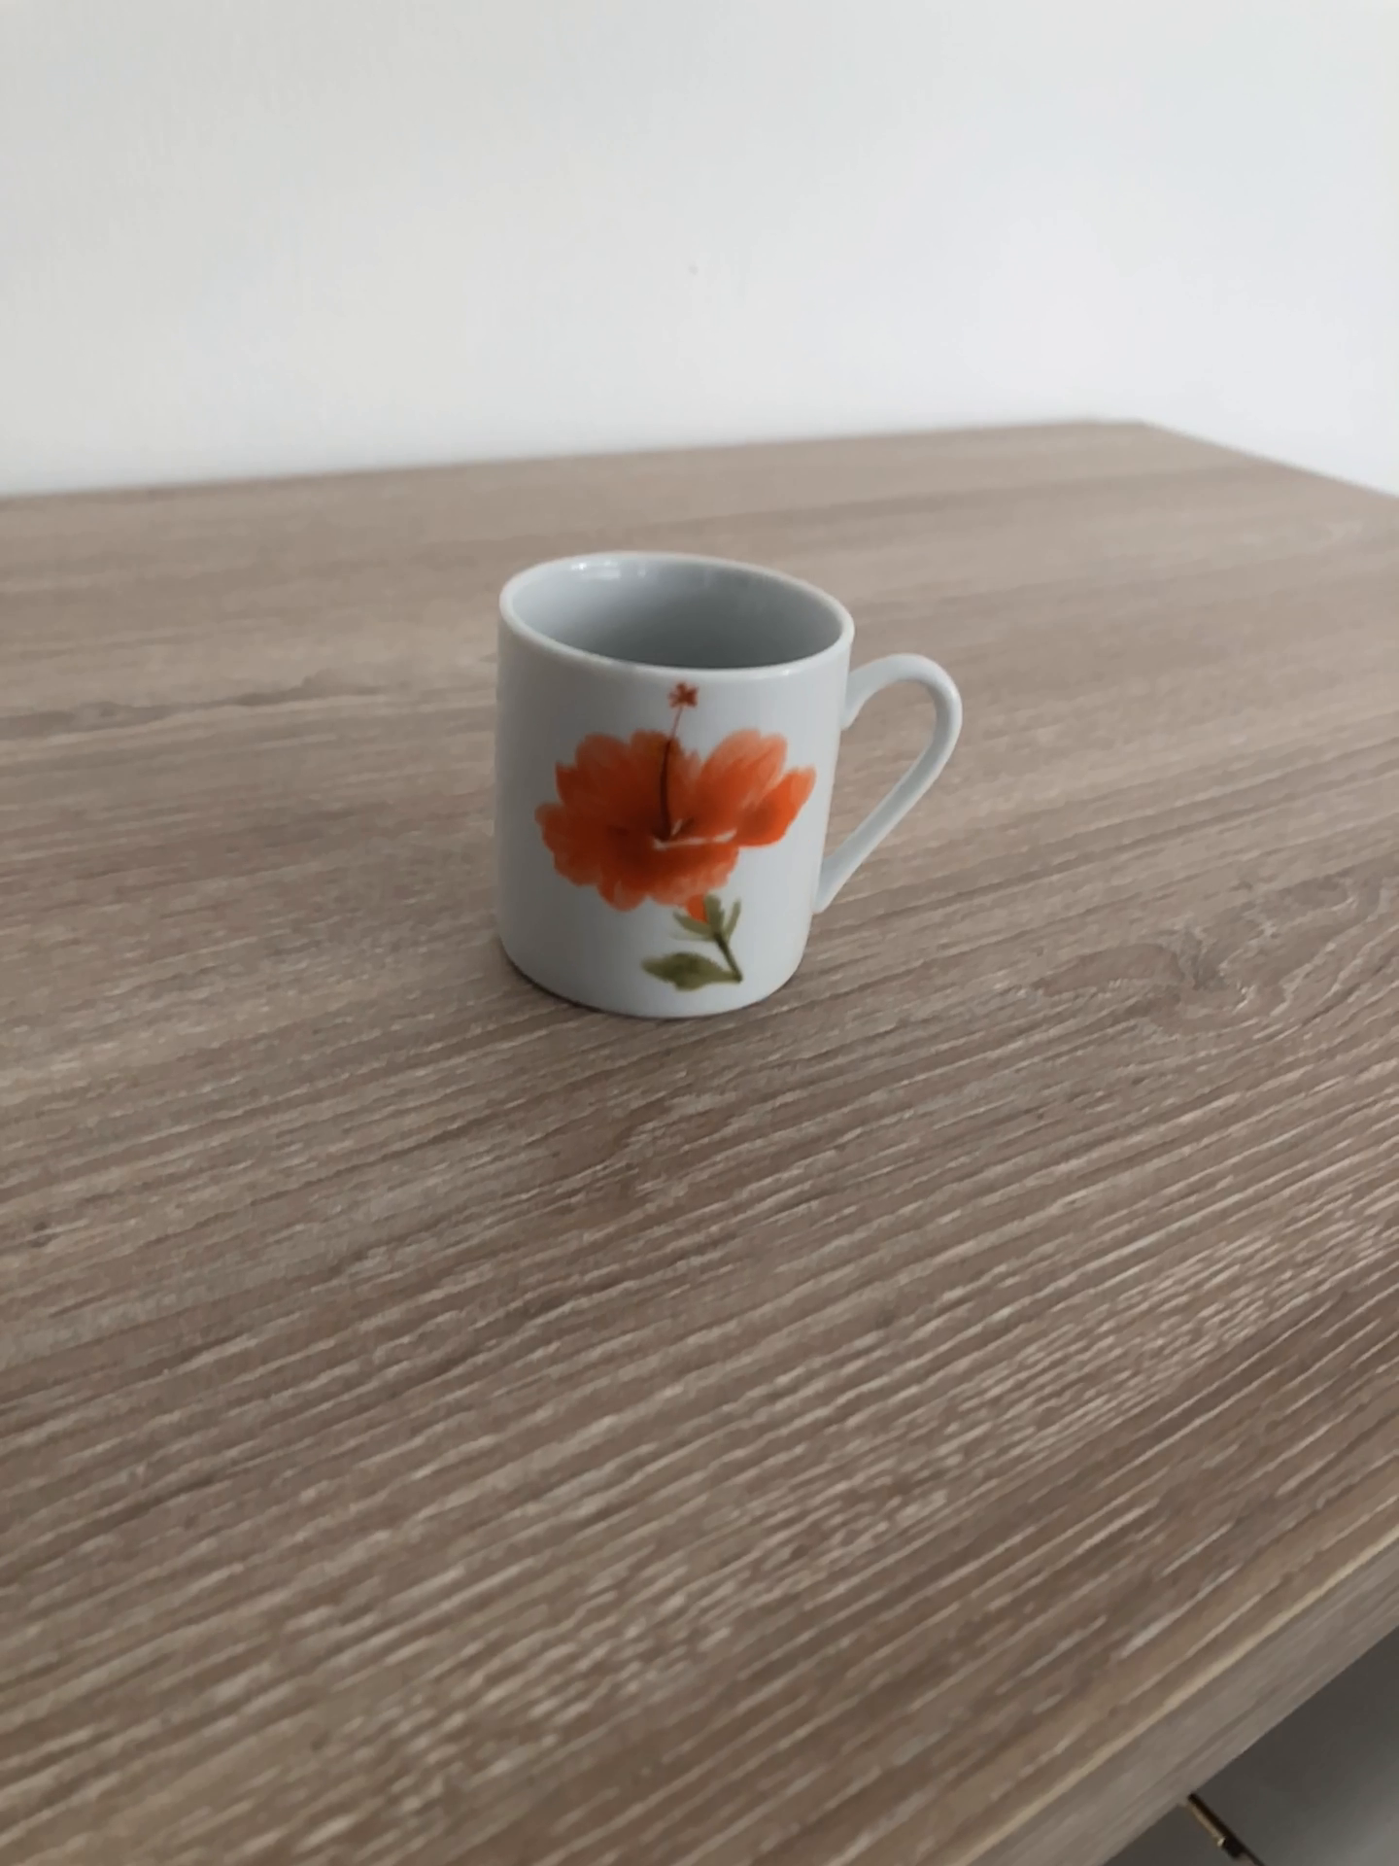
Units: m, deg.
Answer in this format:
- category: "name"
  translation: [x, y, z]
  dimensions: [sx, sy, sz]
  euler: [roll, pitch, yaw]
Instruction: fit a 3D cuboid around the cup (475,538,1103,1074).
- category: "cup"
  translation: [0.007, -0.021, 0.241]
  dimensions: [0.080, 0.060, 0.060]
  euler: [0, 30, -10]
